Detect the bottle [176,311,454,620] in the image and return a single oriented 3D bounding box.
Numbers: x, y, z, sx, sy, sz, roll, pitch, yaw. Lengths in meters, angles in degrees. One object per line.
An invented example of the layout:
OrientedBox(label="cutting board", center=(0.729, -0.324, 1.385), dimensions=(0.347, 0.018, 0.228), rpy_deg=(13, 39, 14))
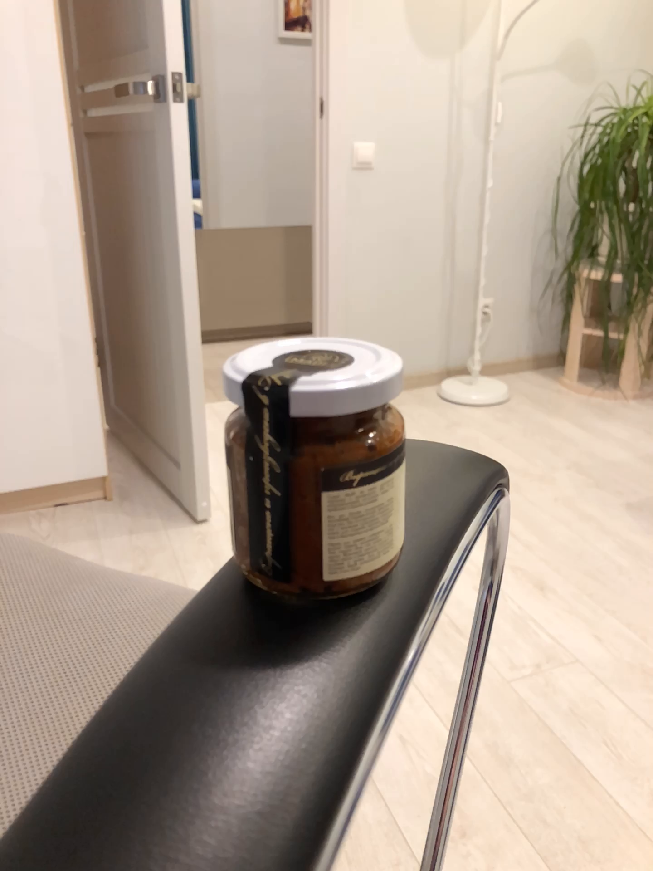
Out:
OrientedBox(label="bottle", center=(-0.002, 0.004, 0.229), dimensions=(0.060, 0.070, 0.060), rpy_deg=(14, 25, 31))
